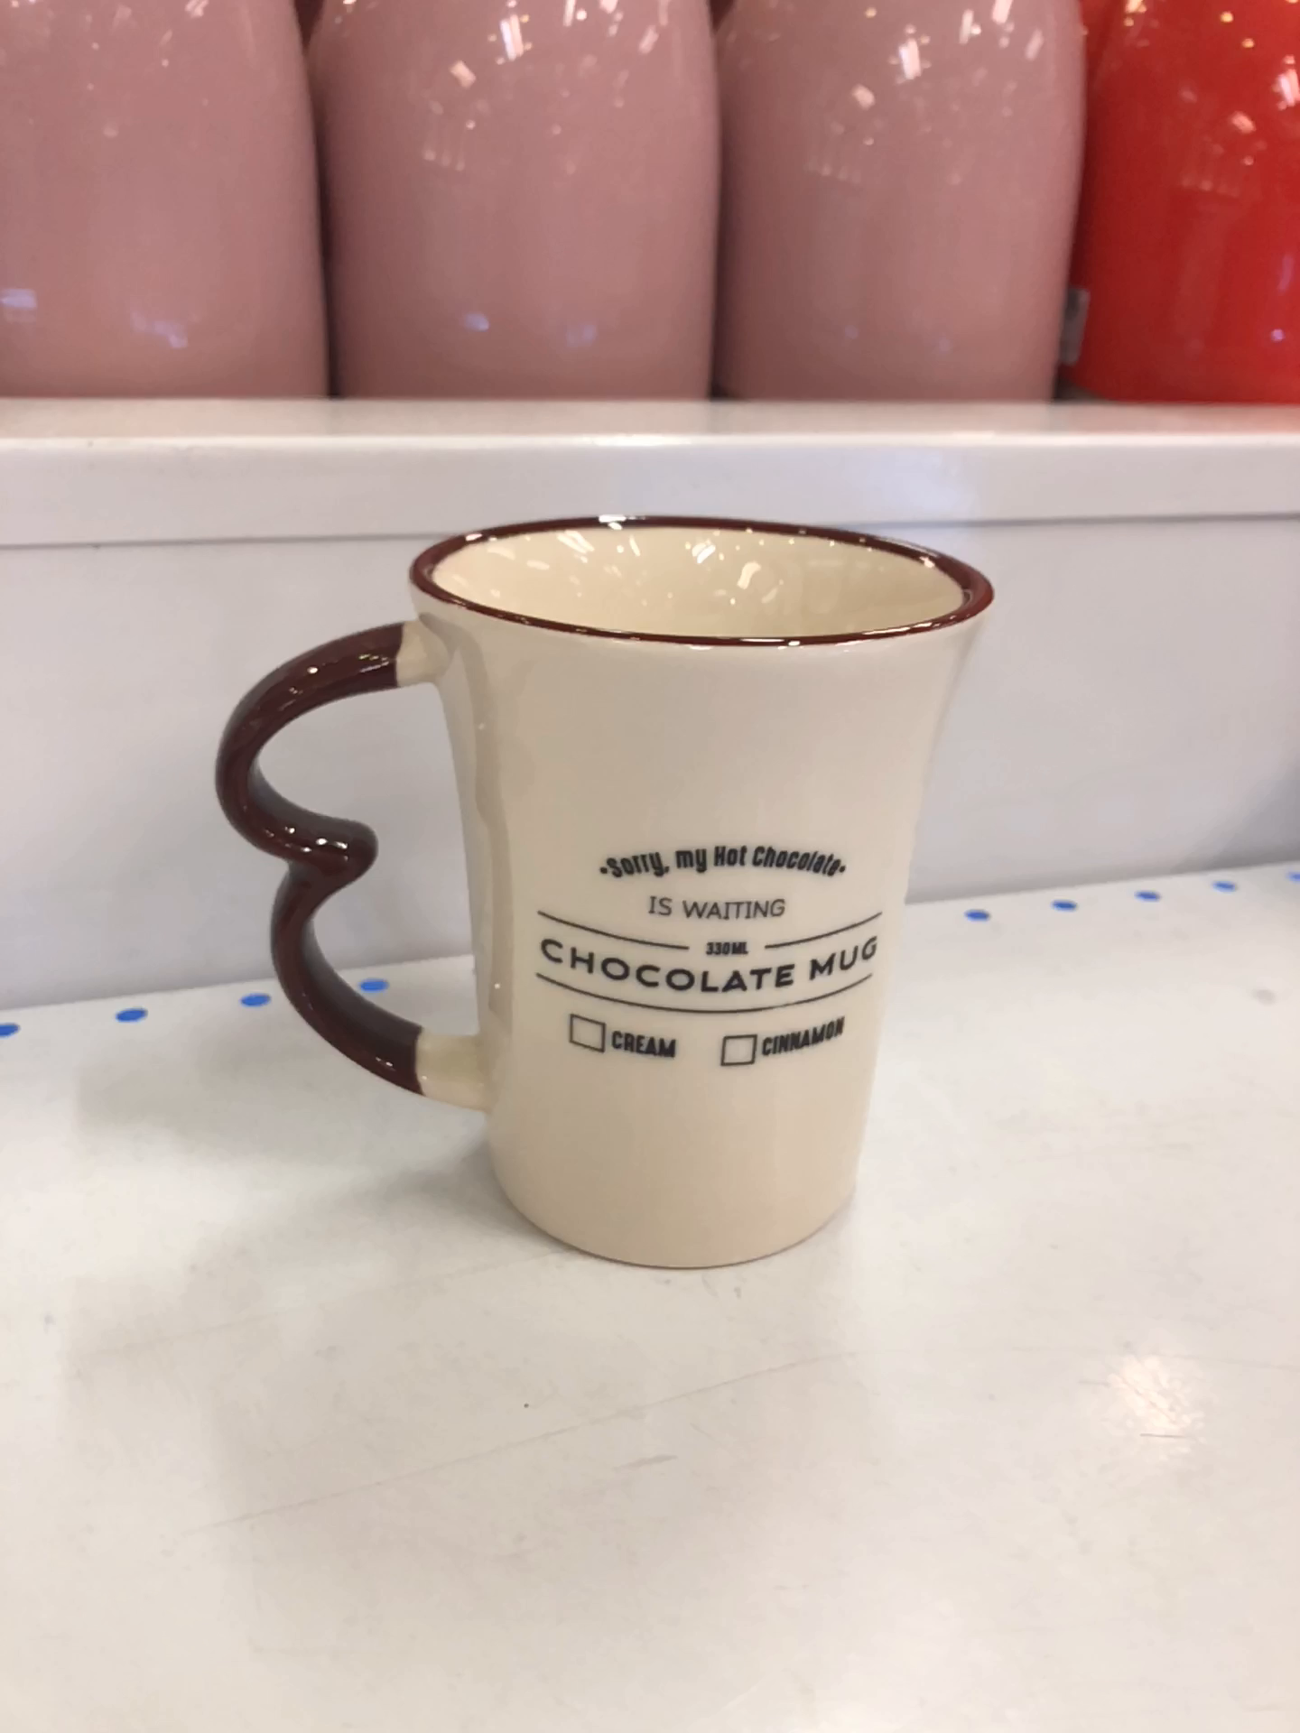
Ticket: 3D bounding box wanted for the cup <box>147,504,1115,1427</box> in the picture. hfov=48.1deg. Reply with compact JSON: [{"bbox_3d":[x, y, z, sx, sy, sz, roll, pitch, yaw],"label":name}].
[{"bbox_3d":[-0.011,0.005,0.236,0.120,0.109,0.091,-4,24,-15],"label":"cup"}]
